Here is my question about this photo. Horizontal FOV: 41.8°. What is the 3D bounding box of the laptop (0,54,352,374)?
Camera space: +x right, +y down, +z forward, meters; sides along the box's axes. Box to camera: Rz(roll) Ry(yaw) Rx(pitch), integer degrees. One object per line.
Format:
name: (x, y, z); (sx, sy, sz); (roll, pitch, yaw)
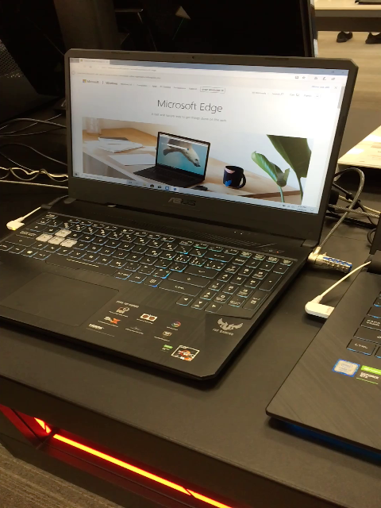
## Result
laptop: (-0.079, -0.082, 0.570); (0.383, 0.209, 0.326); (15, 40, 25)
